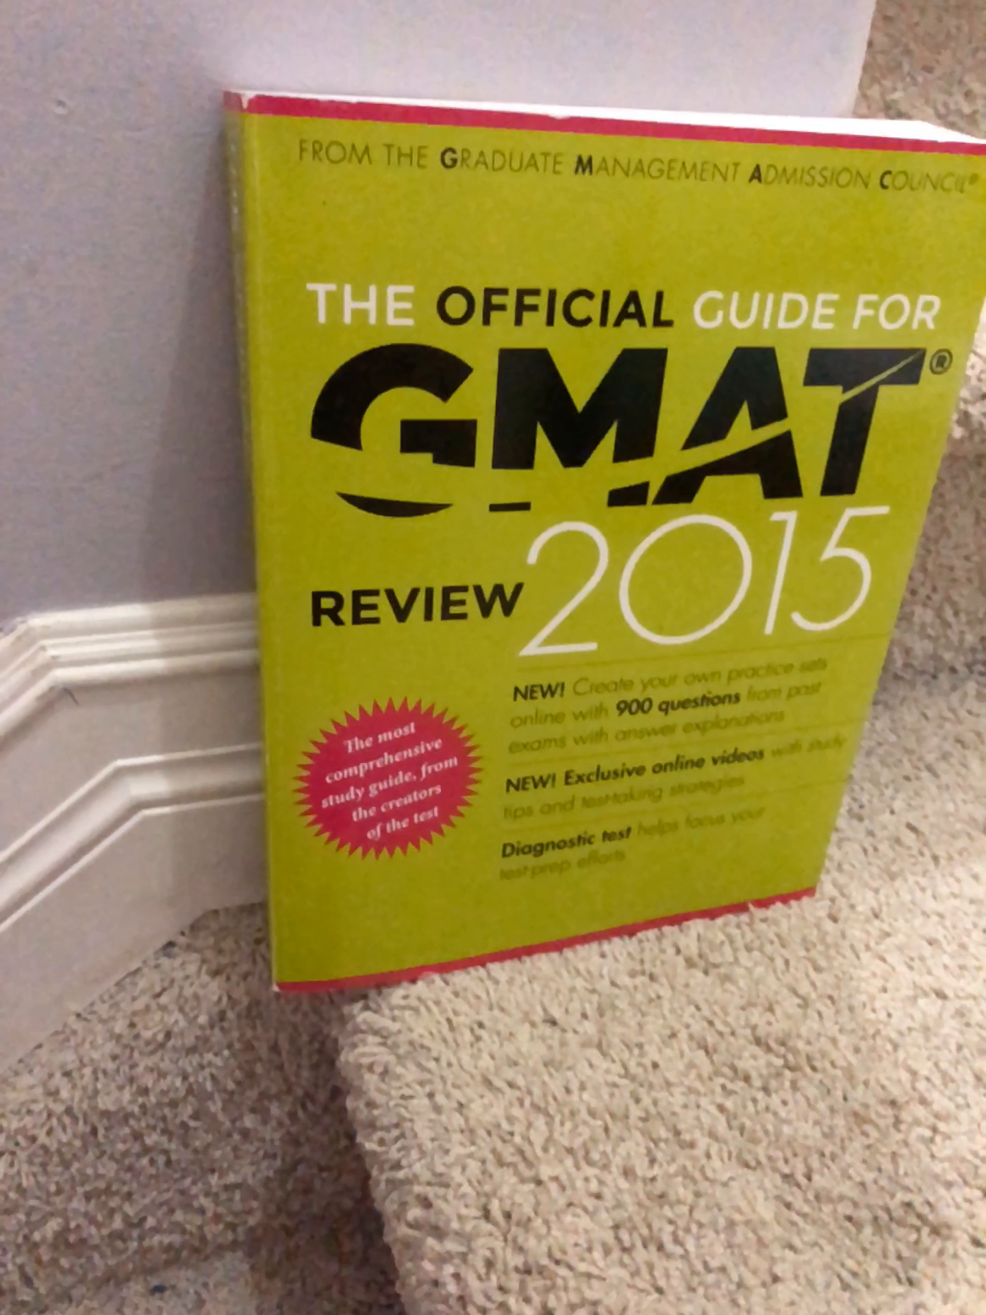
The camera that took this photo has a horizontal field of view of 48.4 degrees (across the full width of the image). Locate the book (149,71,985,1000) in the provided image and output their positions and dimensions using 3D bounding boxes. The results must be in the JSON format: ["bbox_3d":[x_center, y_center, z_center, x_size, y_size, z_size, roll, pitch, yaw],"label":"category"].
[{"bbox_3d":[0.025,-0.030,0.359,0.236,0.276,0.040,-7,28,-17],"label":"book"}]
